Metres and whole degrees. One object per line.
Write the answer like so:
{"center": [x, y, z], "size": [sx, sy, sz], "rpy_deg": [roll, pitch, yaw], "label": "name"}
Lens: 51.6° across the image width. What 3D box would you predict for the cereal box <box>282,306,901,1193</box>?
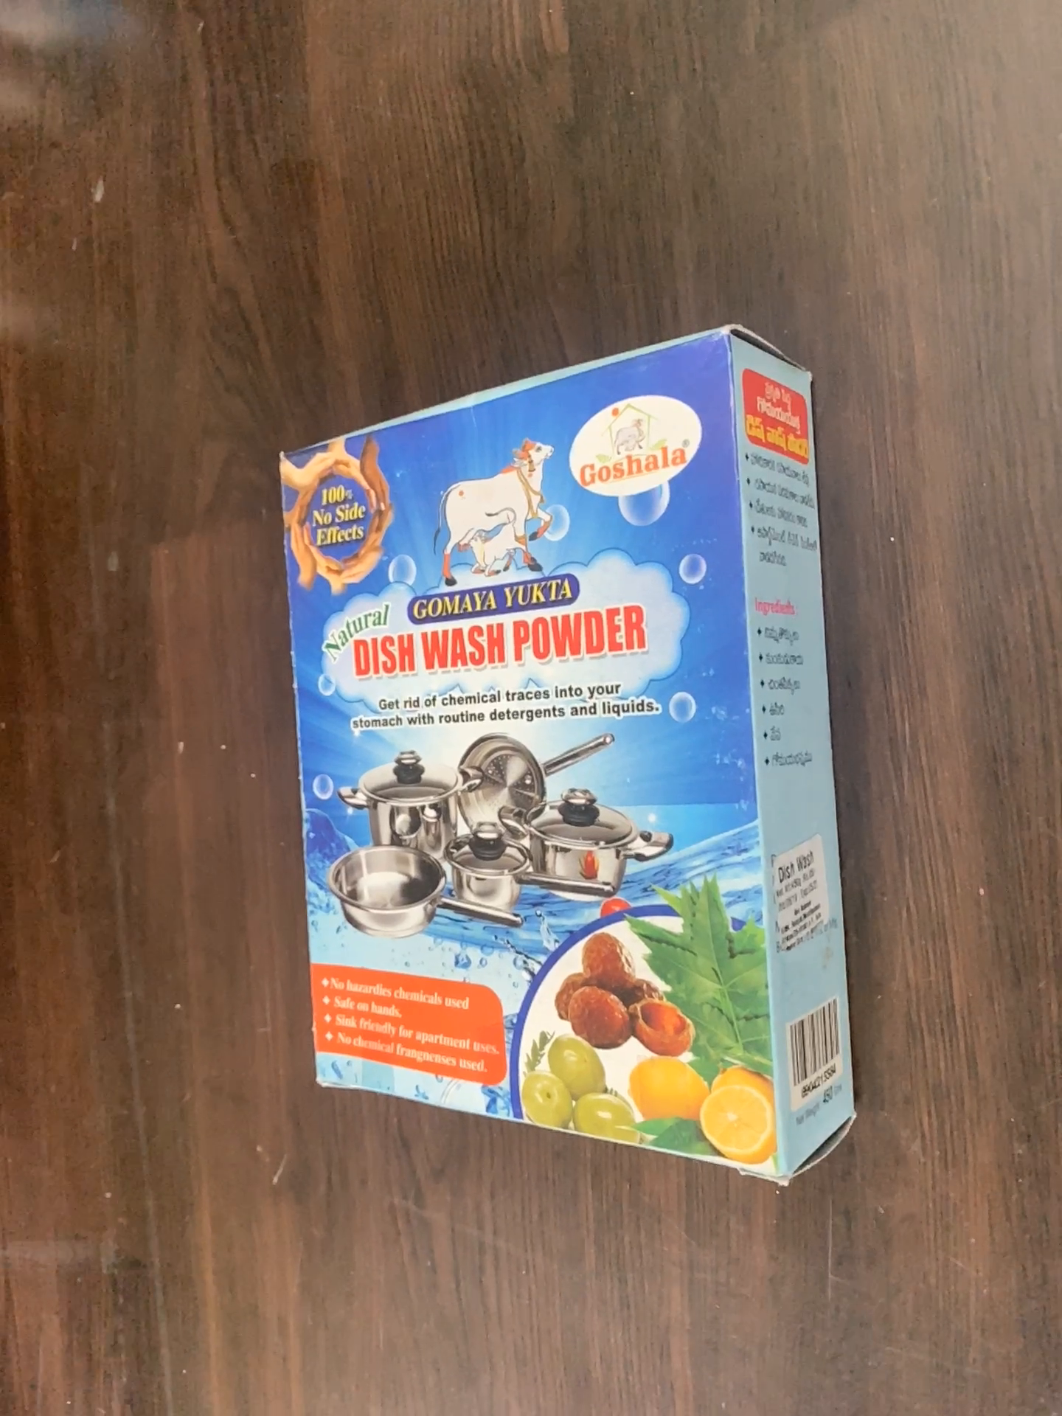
{"center": [0.009, 0.011, 0.277], "size": [0.141, 0.060, 0.170], "rpy_deg": [-4, 87, 38], "label": "cereal box"}
